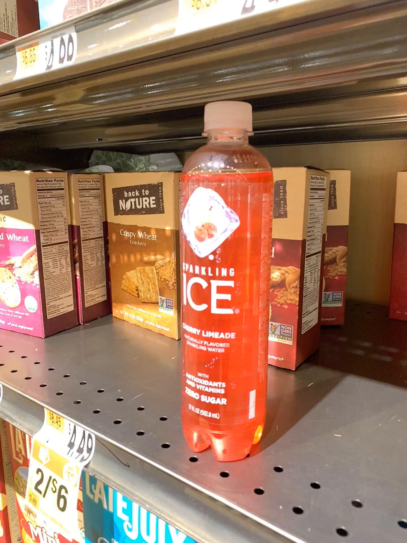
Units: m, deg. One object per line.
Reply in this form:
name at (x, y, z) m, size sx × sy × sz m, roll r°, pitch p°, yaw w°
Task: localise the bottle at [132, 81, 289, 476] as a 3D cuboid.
bottle at (0.007, 0.005, 0.258) m, size 0.066 × 0.211 × 0.060 m, roll -1°, pitch 13°, yaw 0°
